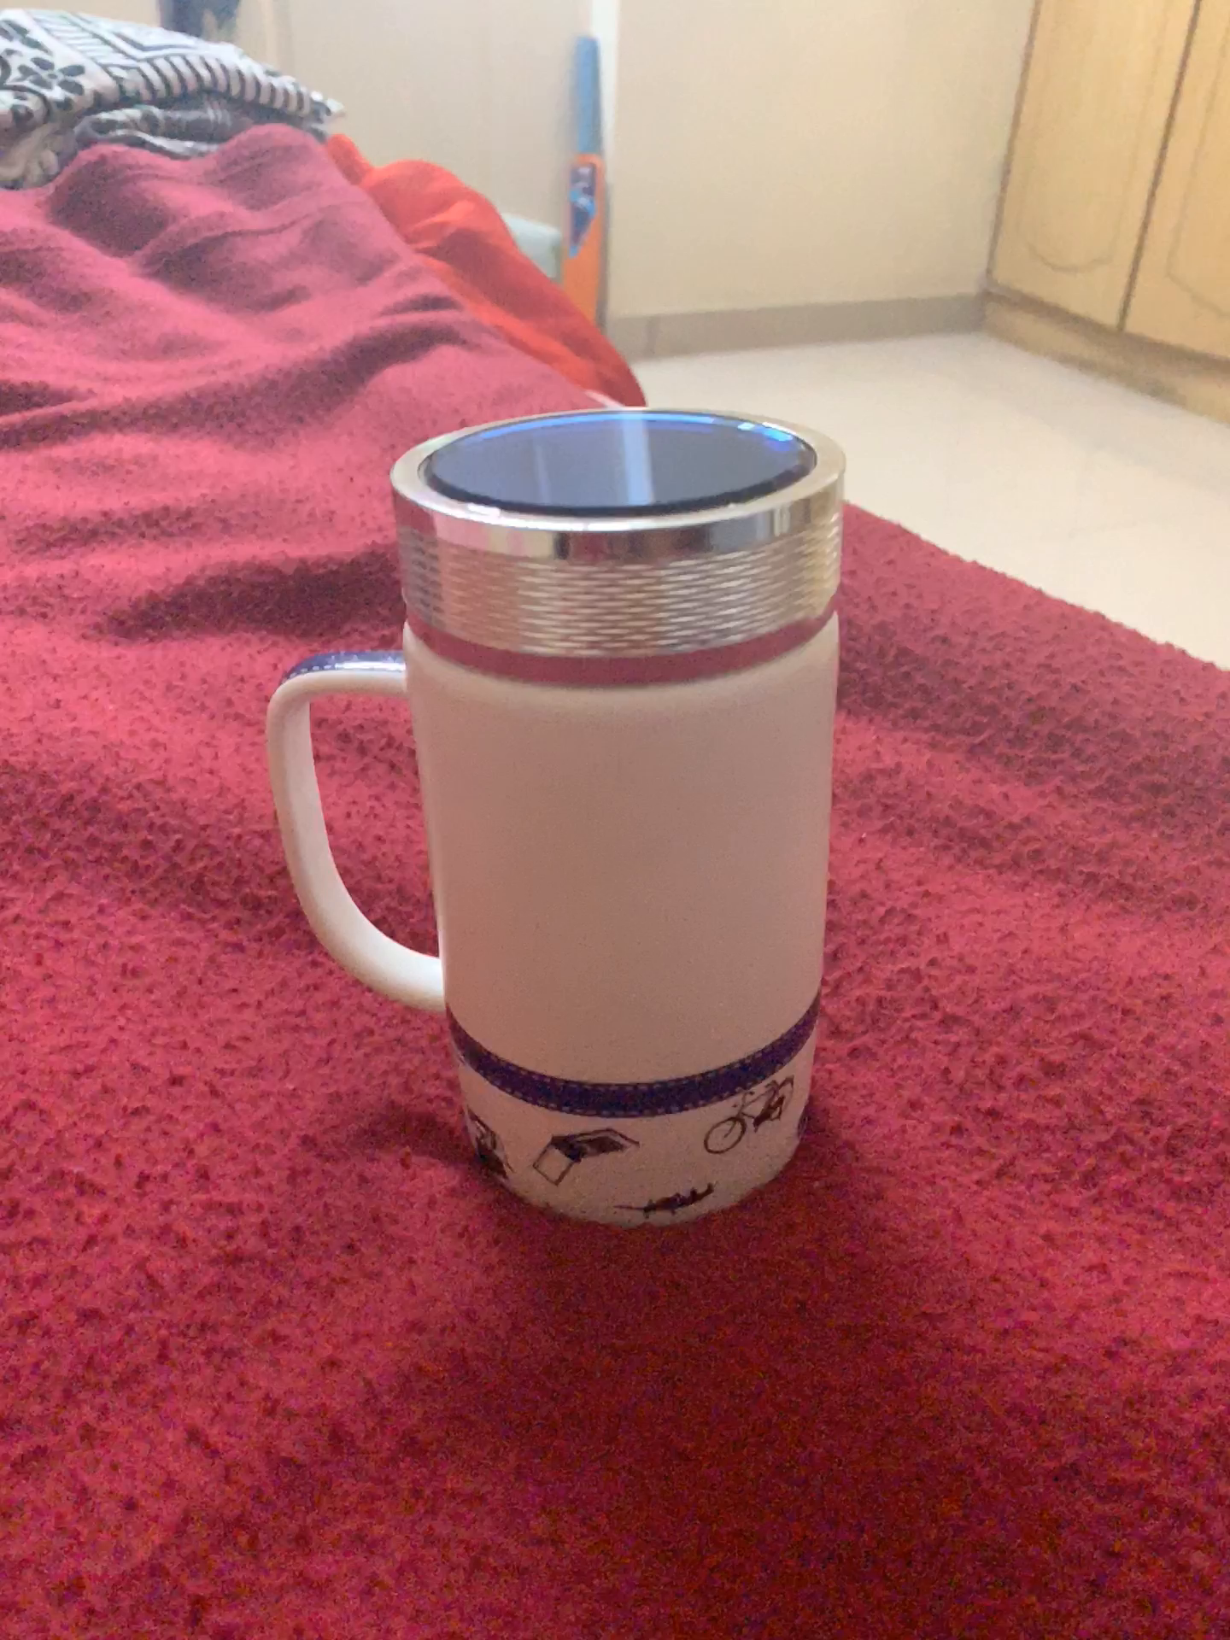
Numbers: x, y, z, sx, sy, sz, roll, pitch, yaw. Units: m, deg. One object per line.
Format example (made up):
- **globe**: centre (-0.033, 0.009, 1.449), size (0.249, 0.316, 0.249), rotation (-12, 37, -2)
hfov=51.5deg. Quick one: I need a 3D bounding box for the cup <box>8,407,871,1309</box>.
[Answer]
- **cup**: centre (-0.018, 0.002, 0.244), size (0.120, 0.139, 0.091), rotation (3, 29, 8)
